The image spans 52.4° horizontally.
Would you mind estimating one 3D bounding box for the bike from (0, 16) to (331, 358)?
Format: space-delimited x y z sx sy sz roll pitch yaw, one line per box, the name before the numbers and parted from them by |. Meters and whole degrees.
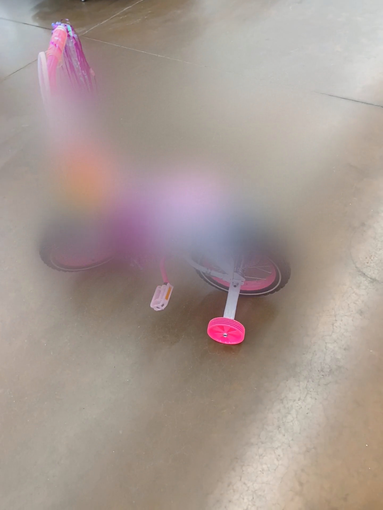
bike | -0.102 -0.147 1.033 0.725 0.648 0.503 3 51 12
